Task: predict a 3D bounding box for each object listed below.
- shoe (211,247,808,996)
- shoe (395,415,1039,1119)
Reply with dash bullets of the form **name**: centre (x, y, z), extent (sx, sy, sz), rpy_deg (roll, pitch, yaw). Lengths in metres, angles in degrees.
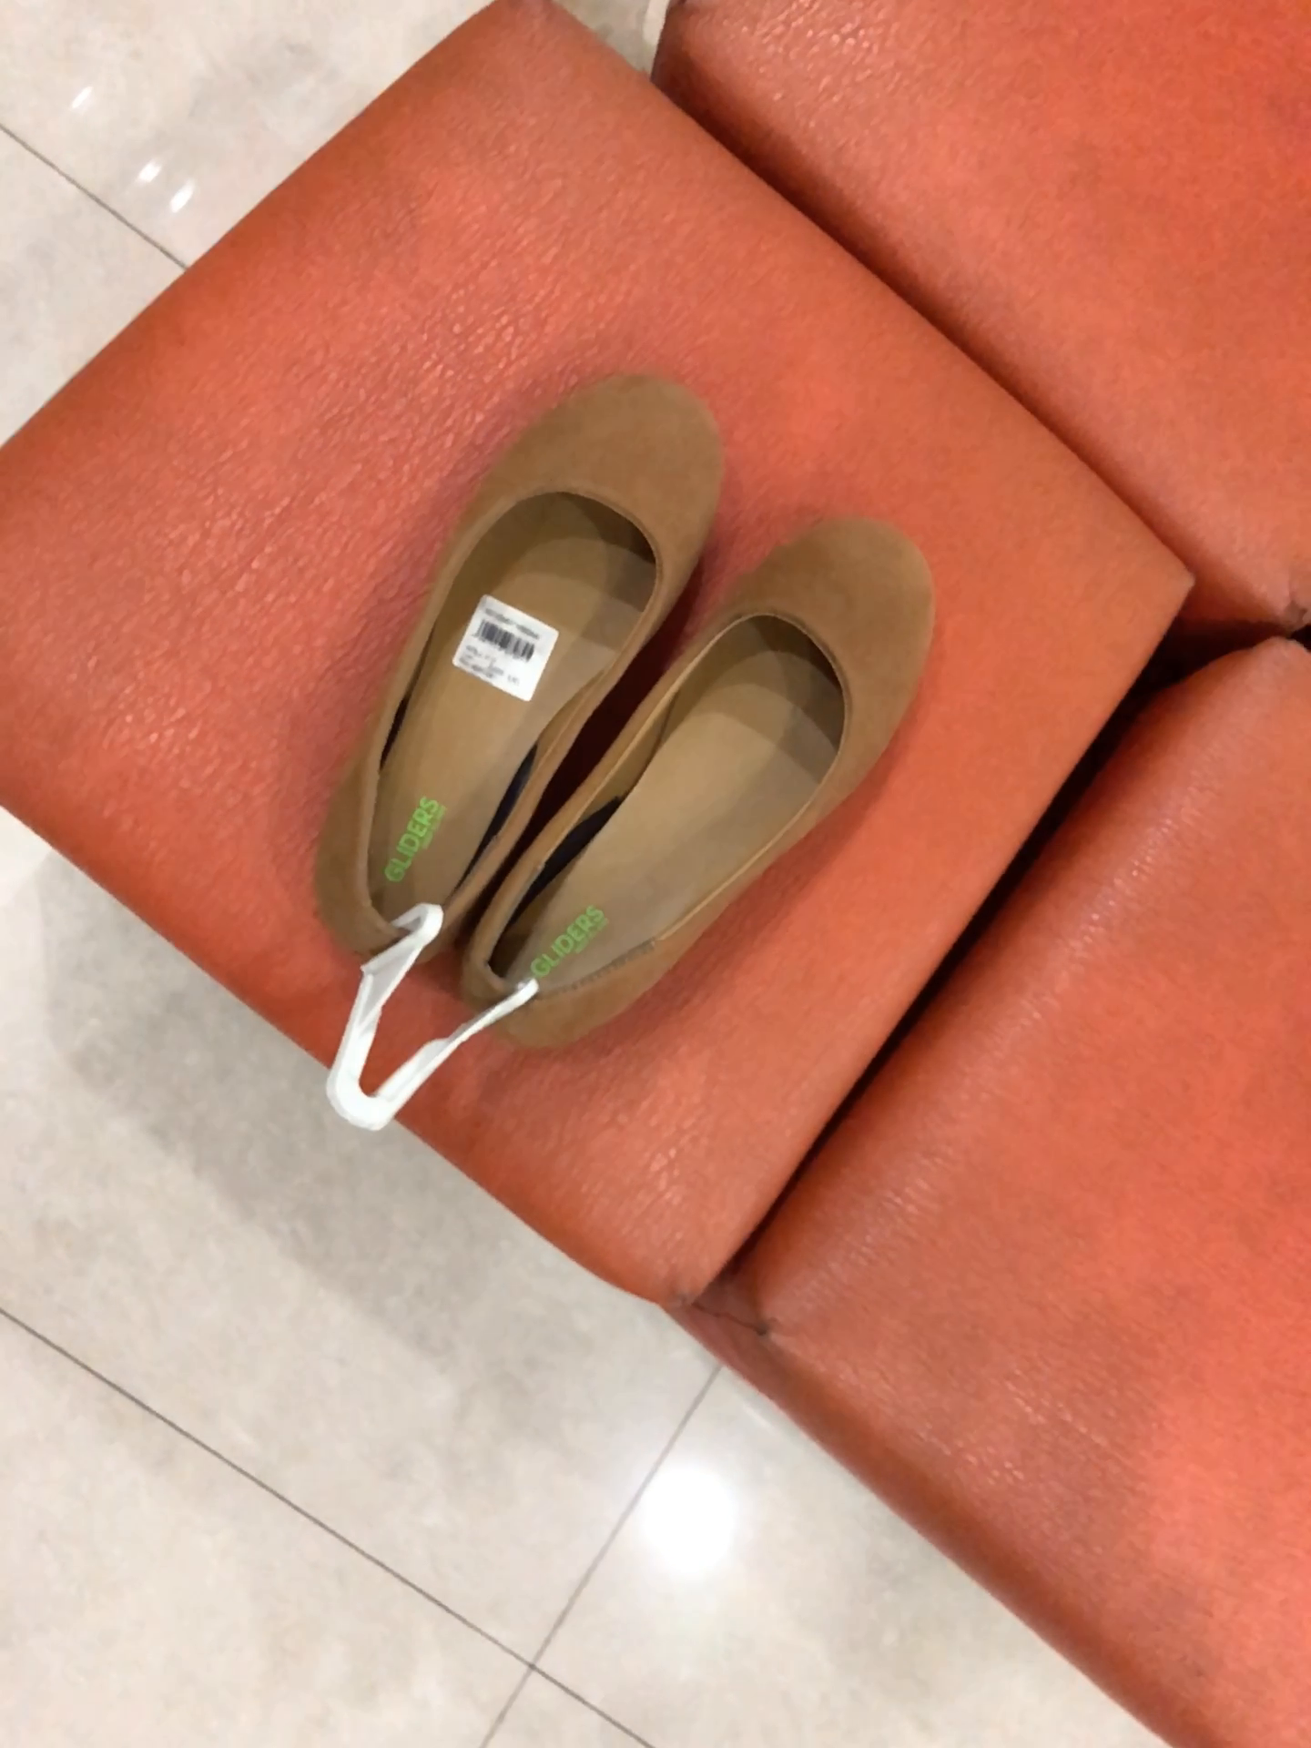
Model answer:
- **shoe**: centre (-0.055, -0.101, 0.587), extent (0.094, 0.071, 0.286), rpy_deg (31, 76, -6)
- **shoe**: centre (0.027, -0.044, 0.597), extent (0.097, 0.071, 0.286), rpy_deg (41, 75, -5)
